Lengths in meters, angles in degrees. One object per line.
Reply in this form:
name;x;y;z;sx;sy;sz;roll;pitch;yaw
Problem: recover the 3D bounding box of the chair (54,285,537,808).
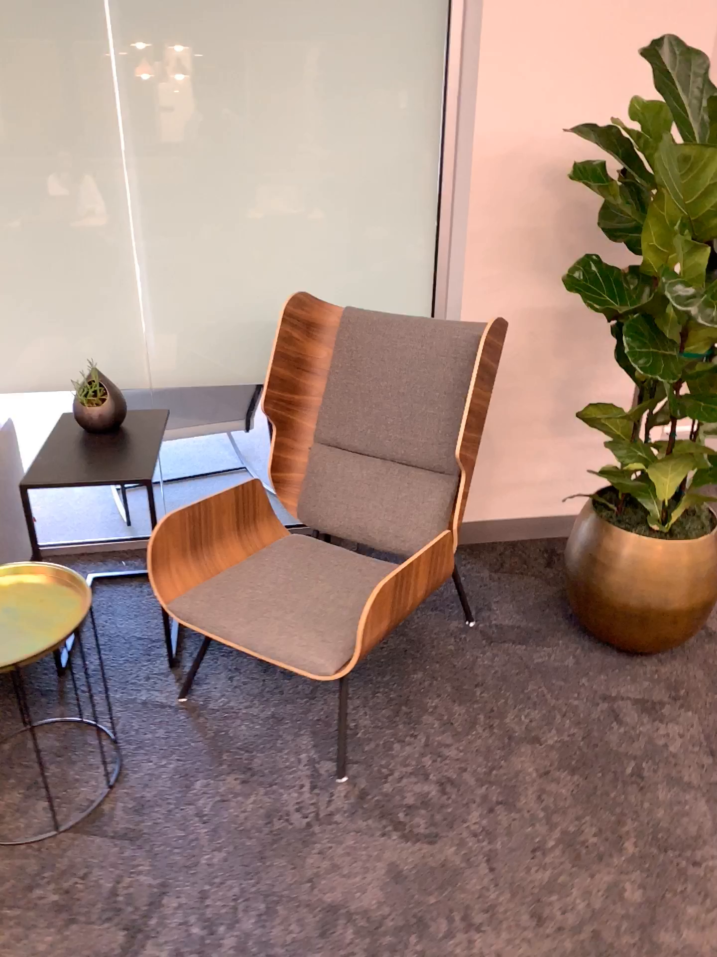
chair;-0.112;0.069;2.110;0.882;0.995;0.933;14;29;27
